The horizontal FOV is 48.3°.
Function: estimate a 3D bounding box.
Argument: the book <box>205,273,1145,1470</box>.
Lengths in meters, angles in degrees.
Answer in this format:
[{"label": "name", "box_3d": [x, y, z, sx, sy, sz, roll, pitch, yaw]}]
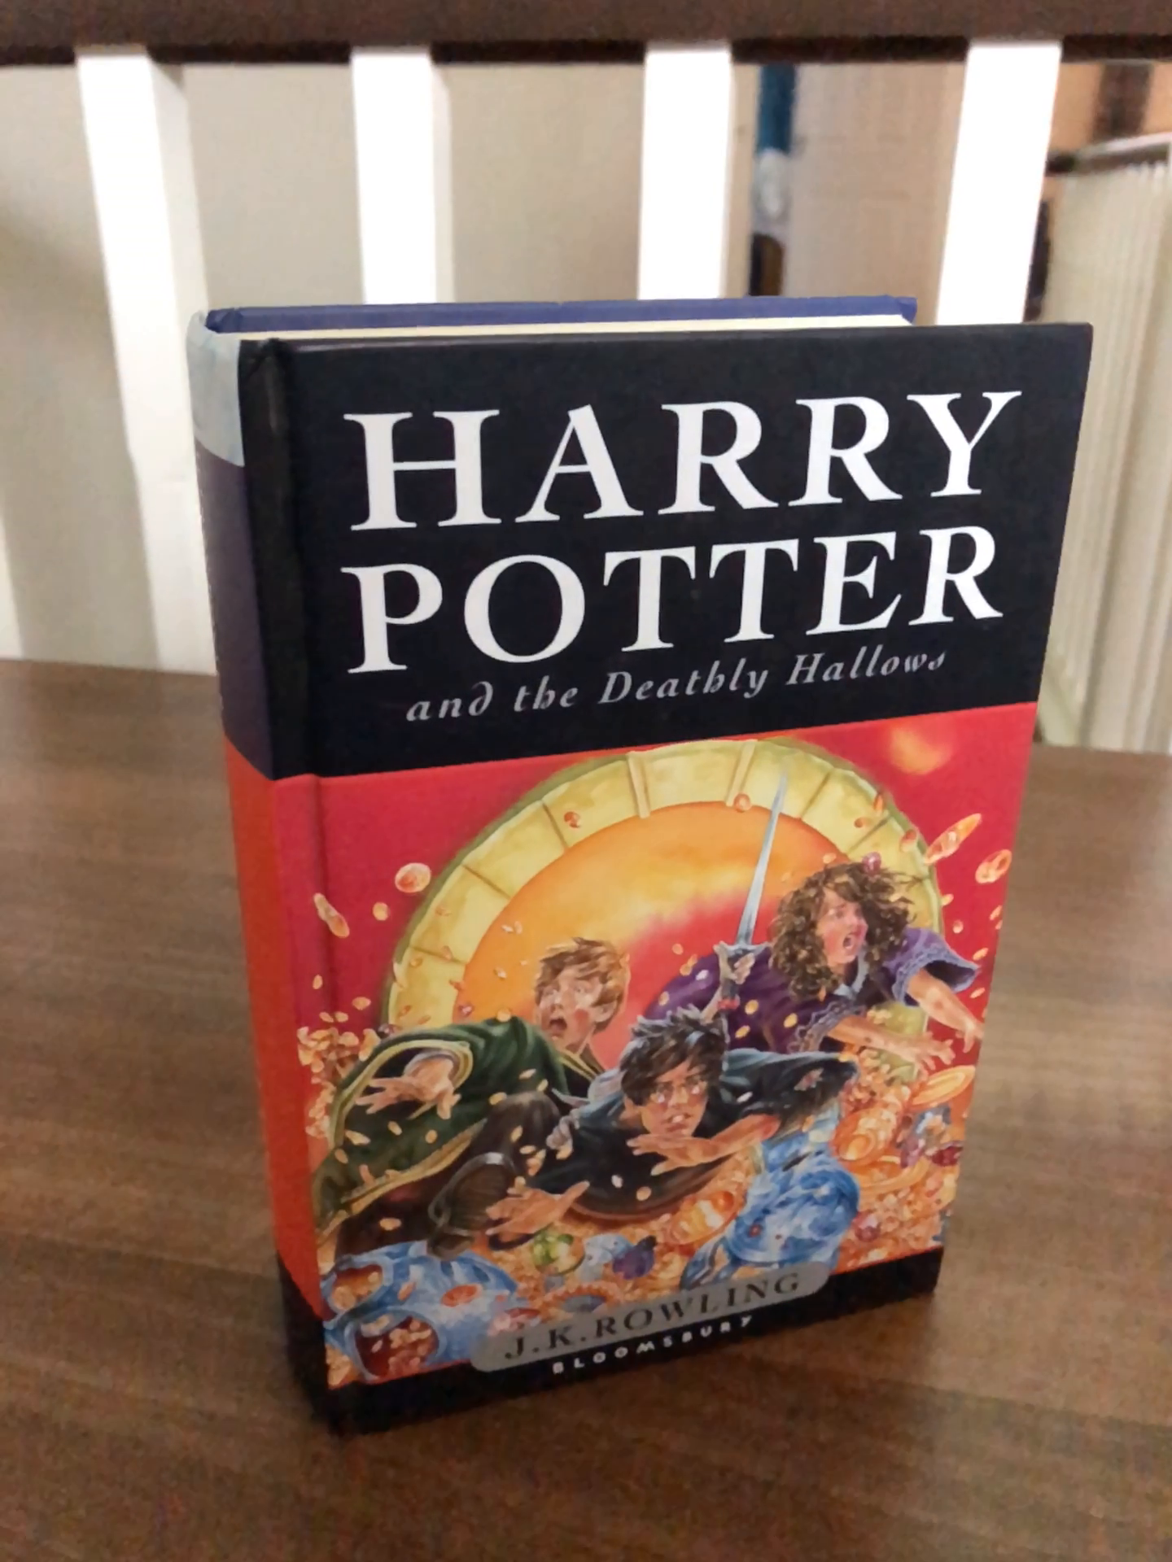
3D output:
[{"label": "book", "box_3d": [0.010, 0.016, 0.252, 0.140, 0.209, 0.060, -6, 24, -16]}]
